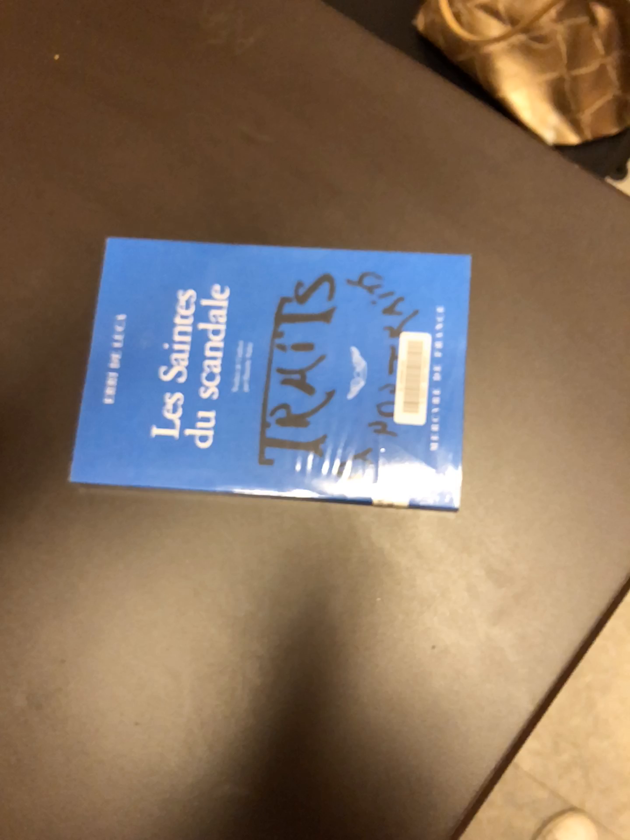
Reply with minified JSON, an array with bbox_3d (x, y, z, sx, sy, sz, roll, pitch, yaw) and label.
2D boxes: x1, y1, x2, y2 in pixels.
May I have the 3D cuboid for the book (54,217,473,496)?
[{"bbox_3d":[-0.026,-0.038,0.387,0.215,0.017,0.144,3,78,5],"label":"book"}]
